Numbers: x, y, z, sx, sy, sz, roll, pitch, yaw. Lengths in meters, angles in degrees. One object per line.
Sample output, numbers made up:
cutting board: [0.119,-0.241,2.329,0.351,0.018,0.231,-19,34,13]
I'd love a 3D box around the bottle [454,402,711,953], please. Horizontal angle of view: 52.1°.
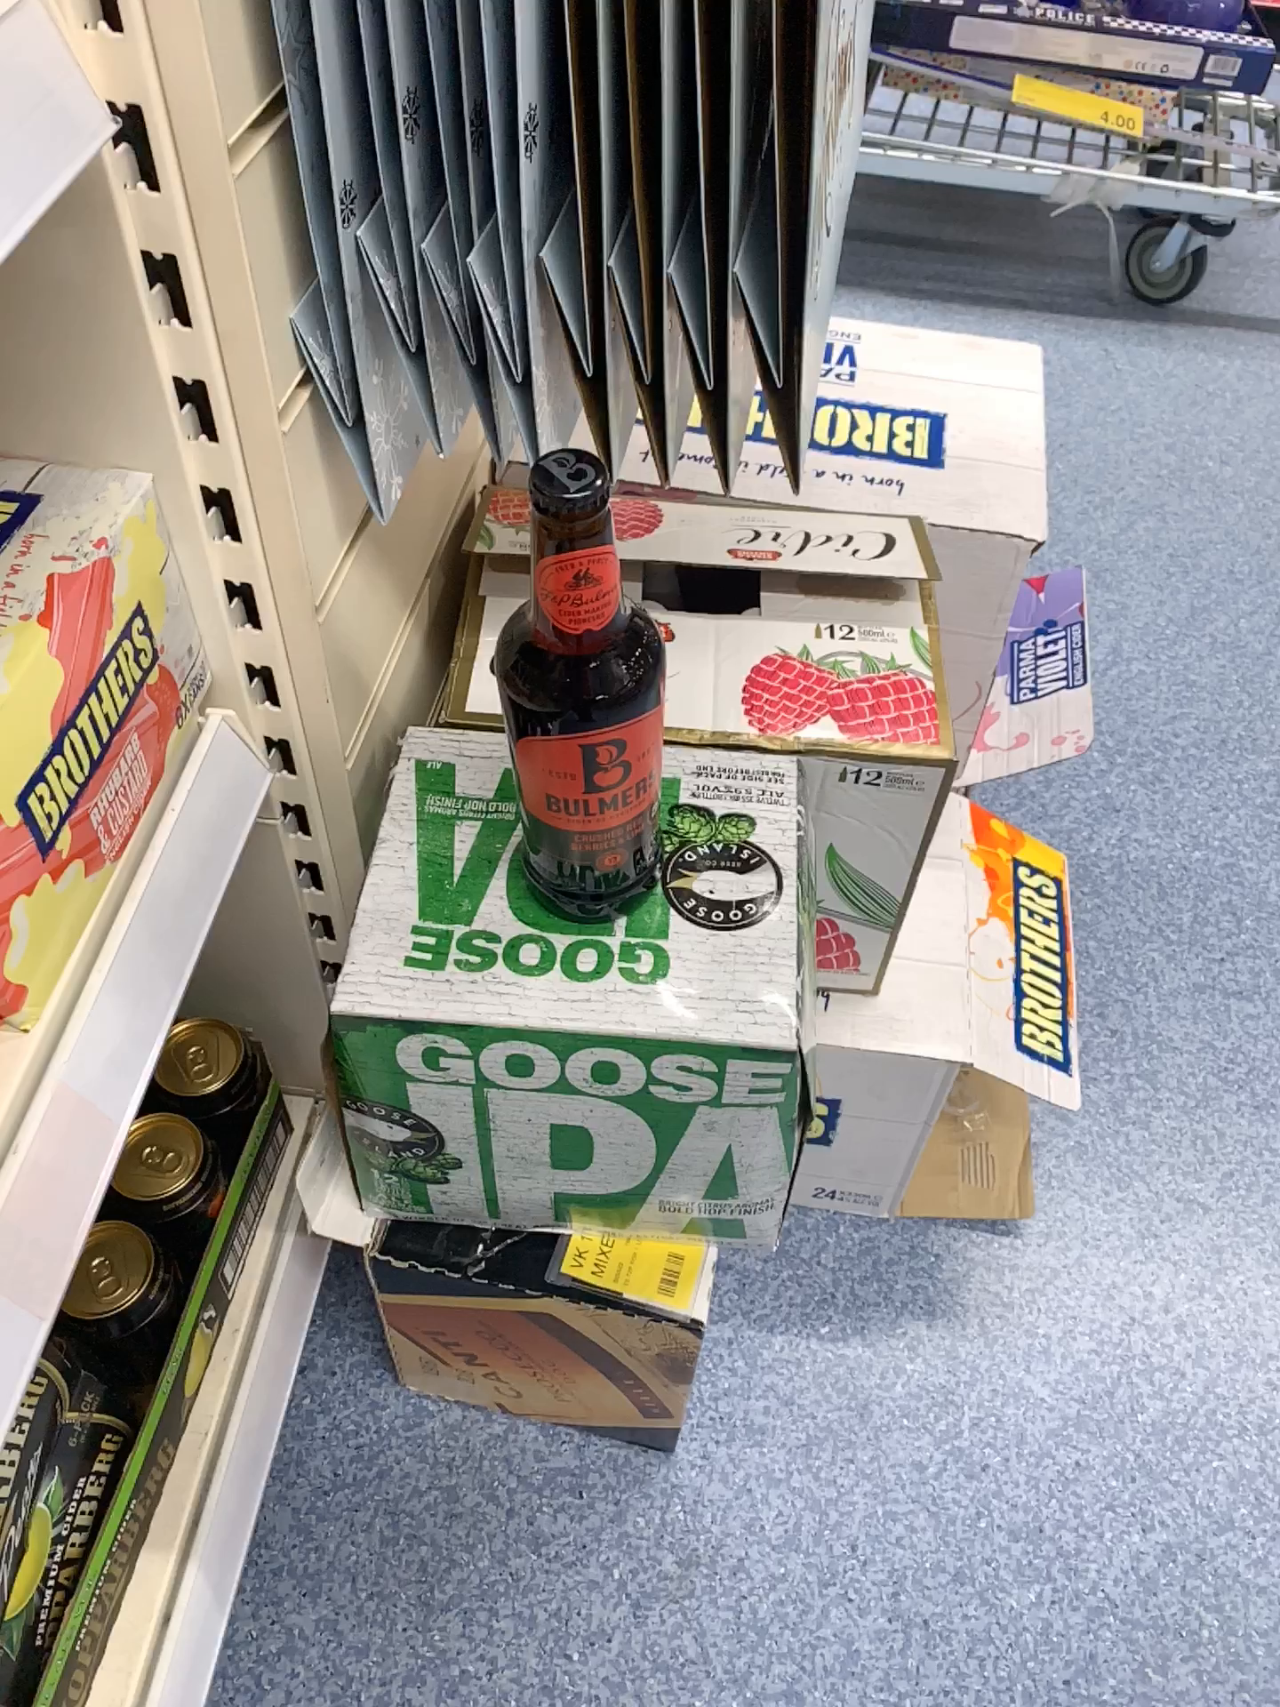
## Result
bottle: [-0.022,-0.062,0.559,0.070,0.234,0.070,0,52,0]
